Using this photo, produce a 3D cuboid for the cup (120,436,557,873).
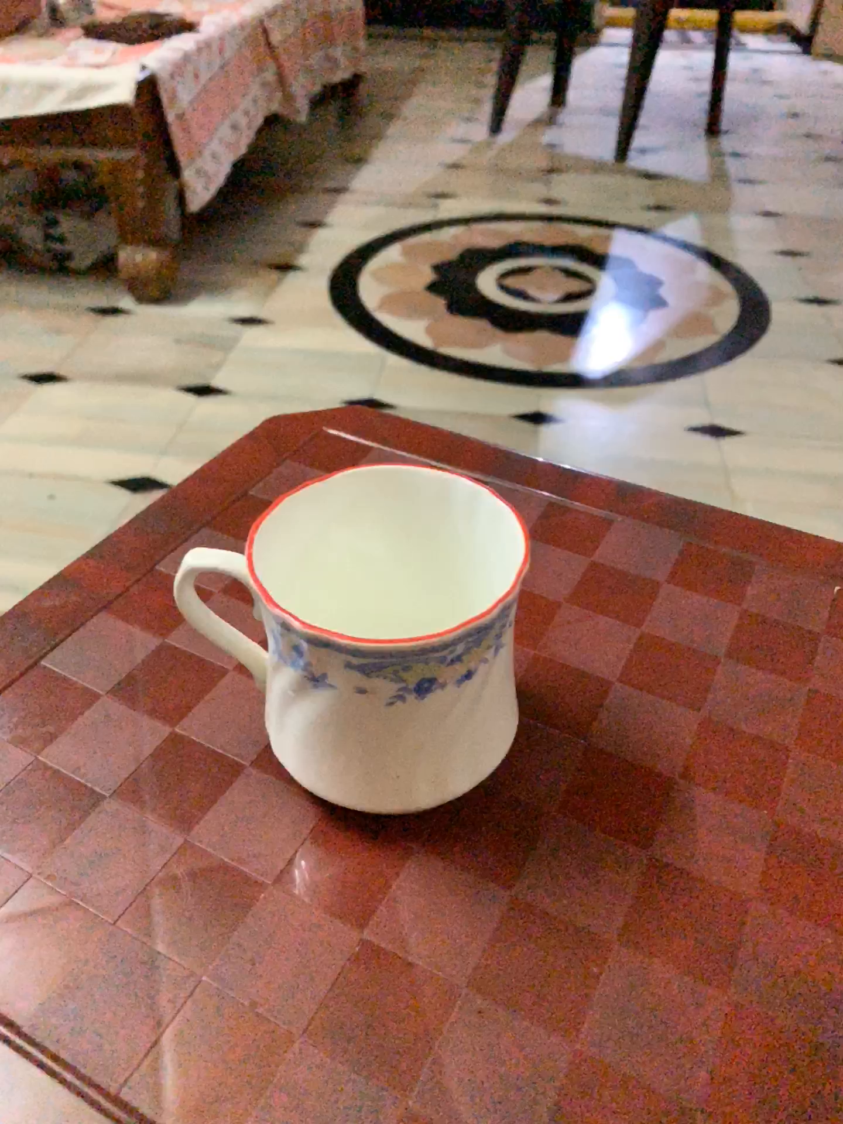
[{"bbox_3d":[-0.014,0.023,0.231,0.090,0.080,0.070,5,39,5],"label":"cup"}]
